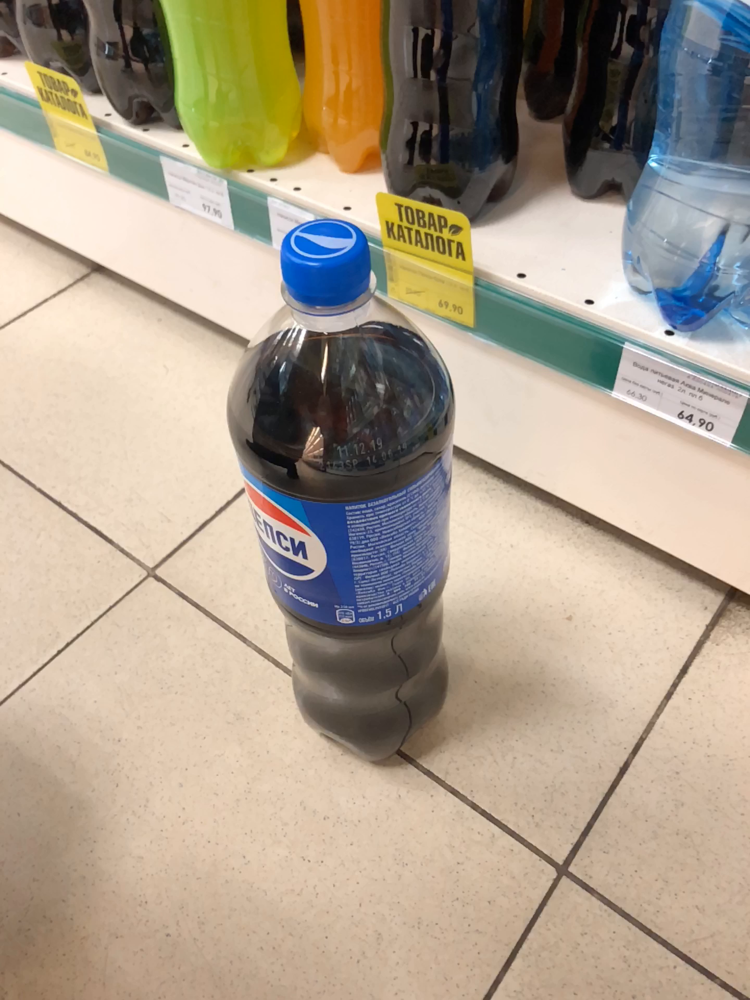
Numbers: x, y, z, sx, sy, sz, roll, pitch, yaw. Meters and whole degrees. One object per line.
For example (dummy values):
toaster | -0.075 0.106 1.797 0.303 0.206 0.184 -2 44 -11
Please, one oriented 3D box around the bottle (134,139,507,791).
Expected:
bottle | -0.011 0.014 0.391 0.089 0.315 0.085 -2 49 2
